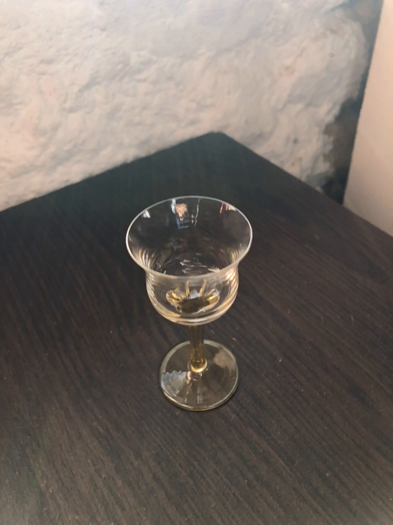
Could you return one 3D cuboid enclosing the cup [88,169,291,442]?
[{"bbox_3d":[-0.002,0.020,0.196,0.051,0.093,0.058,-28,47,-24],"label":"cup"}]
